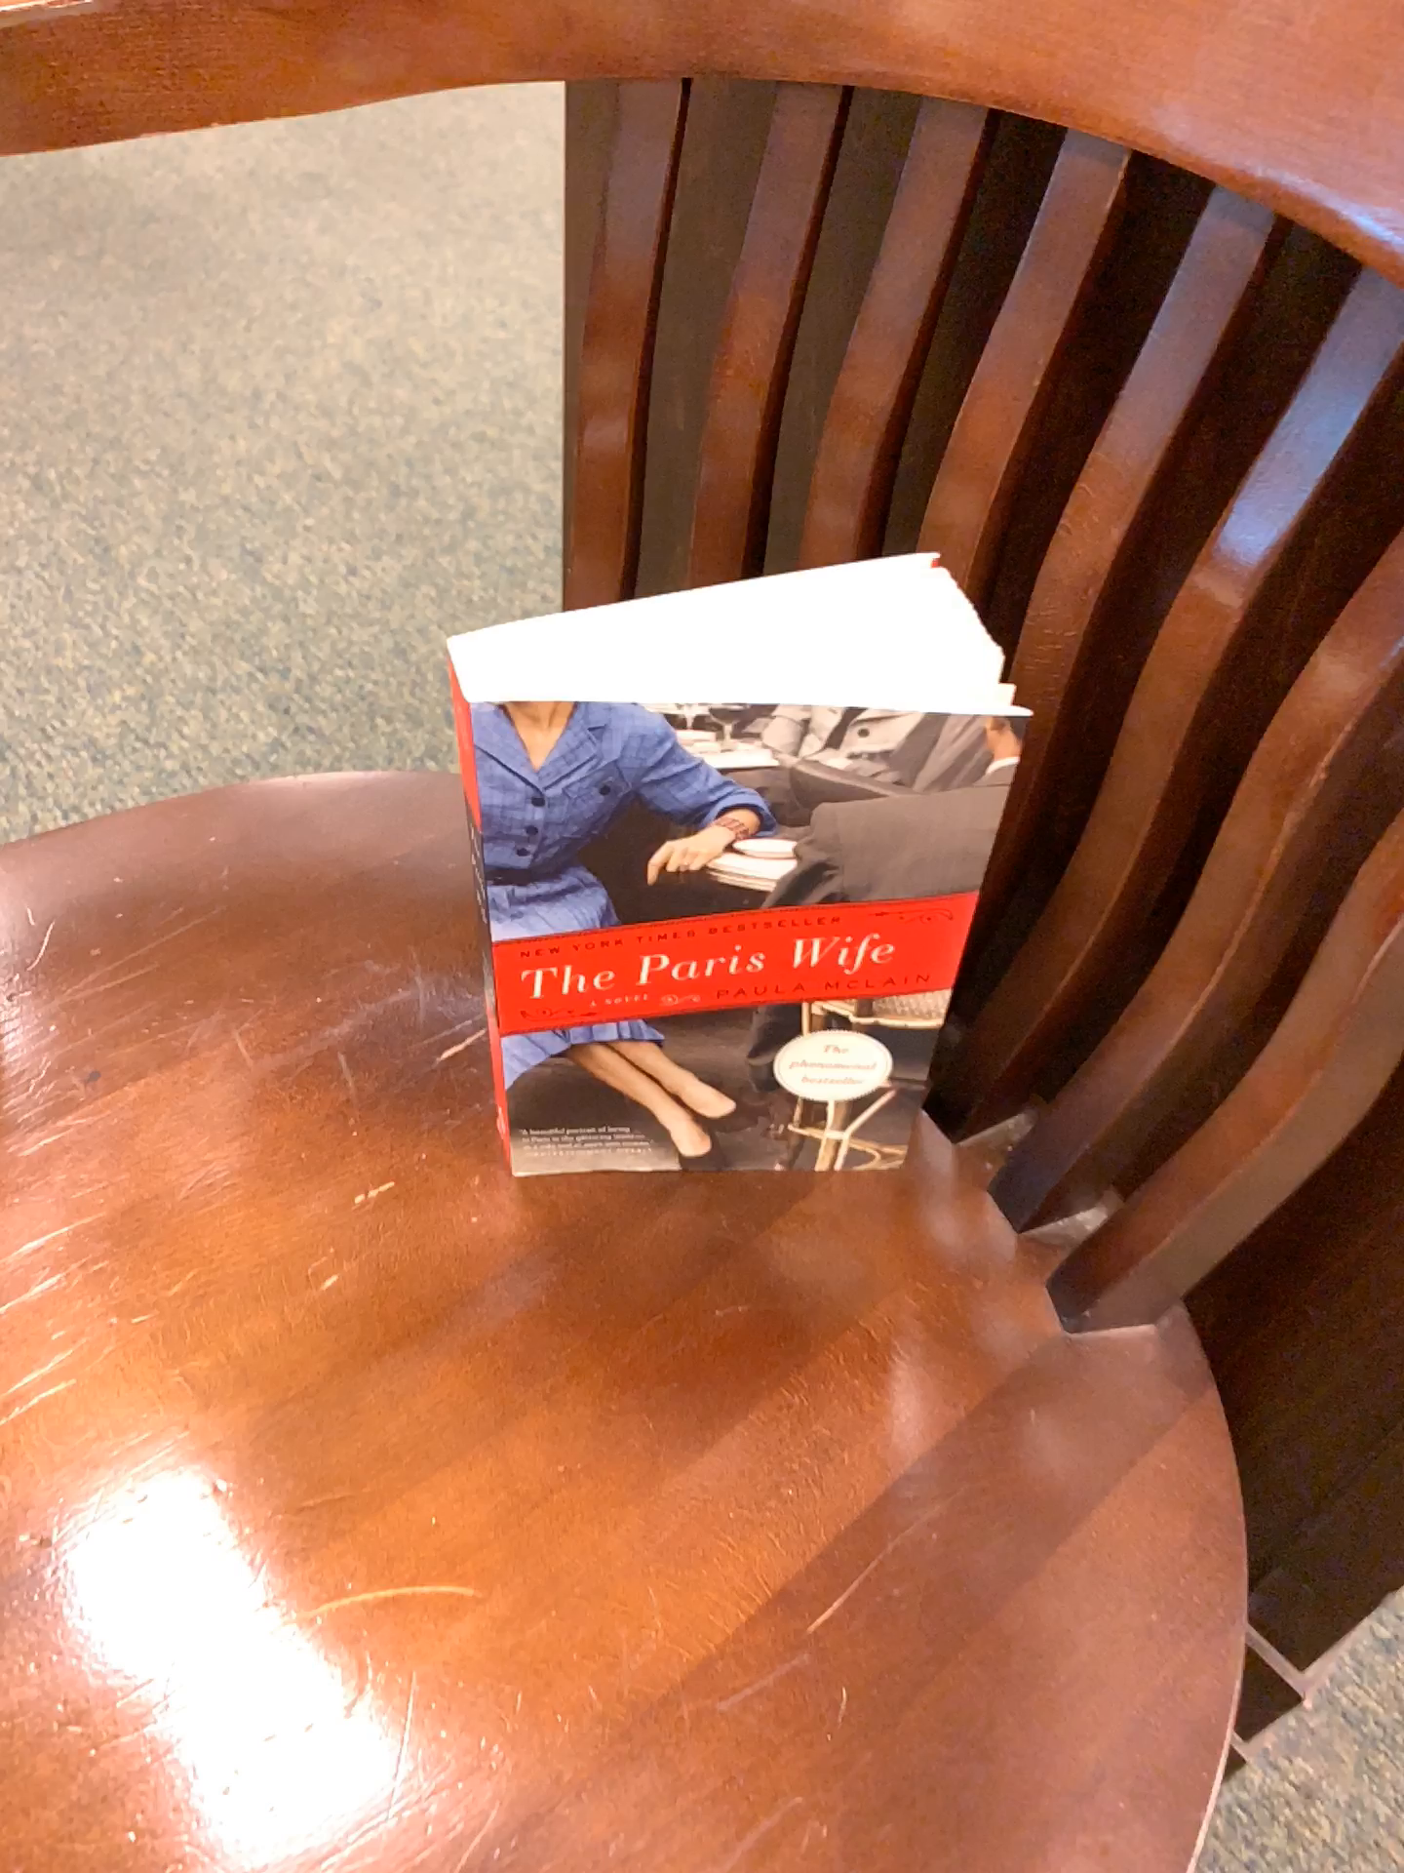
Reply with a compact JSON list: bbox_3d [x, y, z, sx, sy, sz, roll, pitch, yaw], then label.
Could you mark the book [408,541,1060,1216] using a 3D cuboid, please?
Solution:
[{"bbox_3d":[-0.002,-0.008,0.426,0.150,0.199,0.072,-4,49,-9],"label":"book"}]
